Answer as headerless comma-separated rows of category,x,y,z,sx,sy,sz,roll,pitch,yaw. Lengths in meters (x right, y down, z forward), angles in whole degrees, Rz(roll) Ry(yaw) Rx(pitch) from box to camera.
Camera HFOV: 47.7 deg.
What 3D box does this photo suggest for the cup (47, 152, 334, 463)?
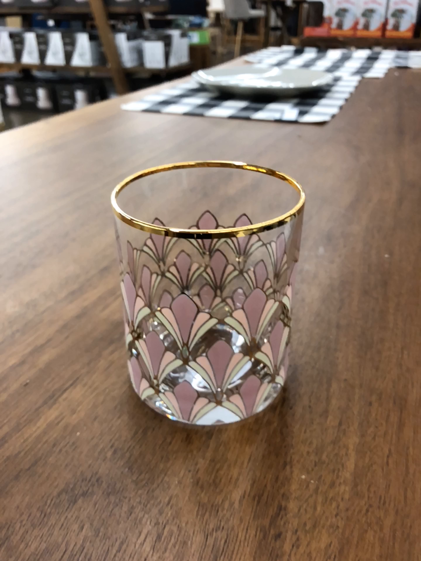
cup,-0.003,0.004,0.209,0.084,0.090,0.081,0,30,0
